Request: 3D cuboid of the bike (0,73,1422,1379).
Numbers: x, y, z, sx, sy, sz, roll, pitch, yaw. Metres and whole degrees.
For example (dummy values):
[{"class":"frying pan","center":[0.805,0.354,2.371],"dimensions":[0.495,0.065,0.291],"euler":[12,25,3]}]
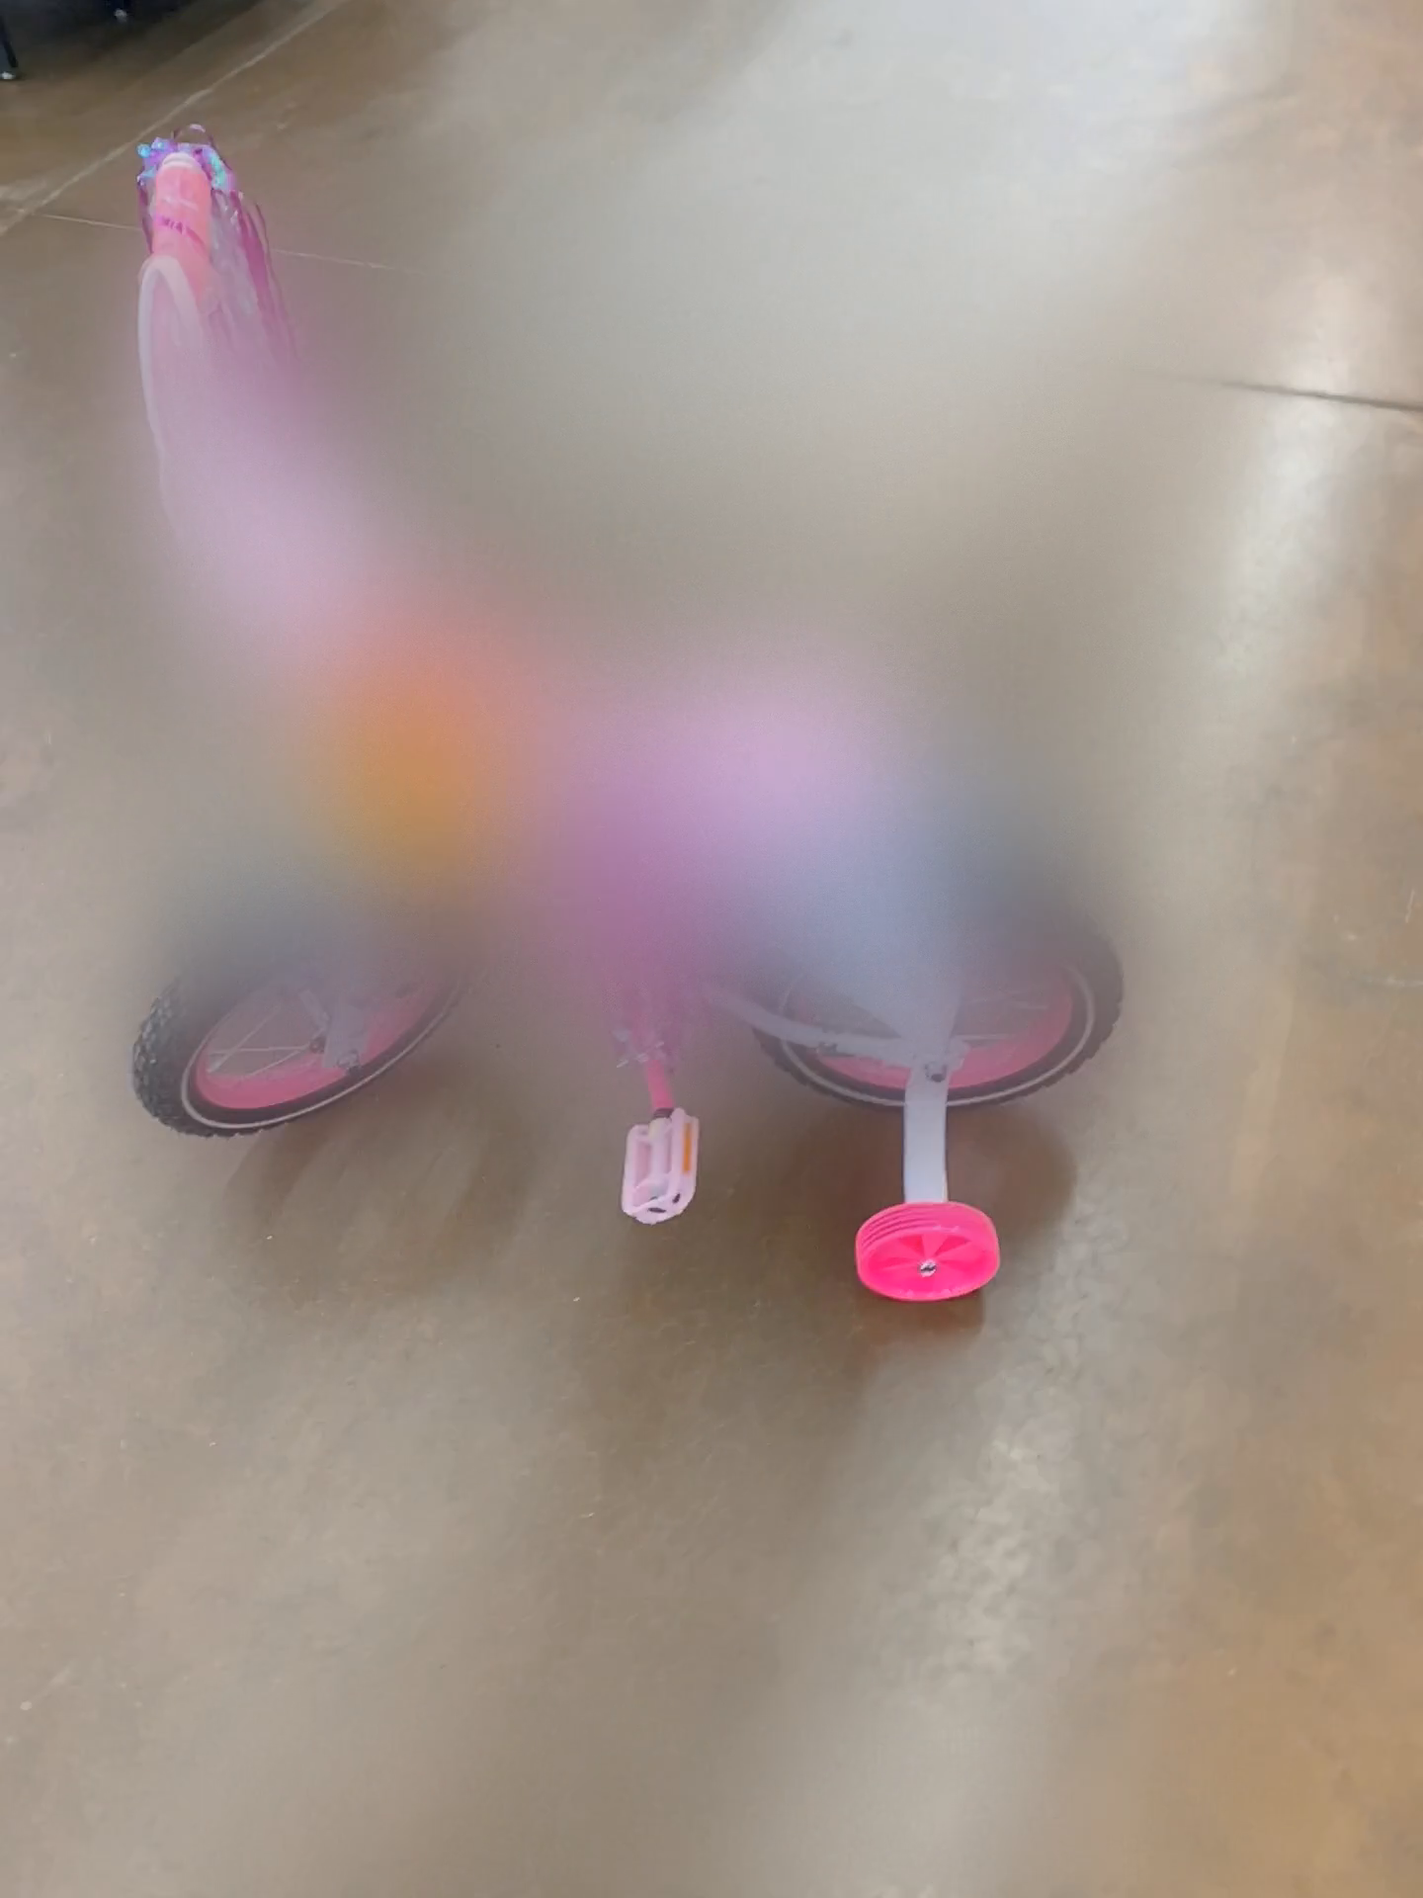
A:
[{"class":"bike","center":[-0.082,-0.103,0.996],"dimensions":[0.724,0.648,0.503],"euler":[-6,50,2]}]
